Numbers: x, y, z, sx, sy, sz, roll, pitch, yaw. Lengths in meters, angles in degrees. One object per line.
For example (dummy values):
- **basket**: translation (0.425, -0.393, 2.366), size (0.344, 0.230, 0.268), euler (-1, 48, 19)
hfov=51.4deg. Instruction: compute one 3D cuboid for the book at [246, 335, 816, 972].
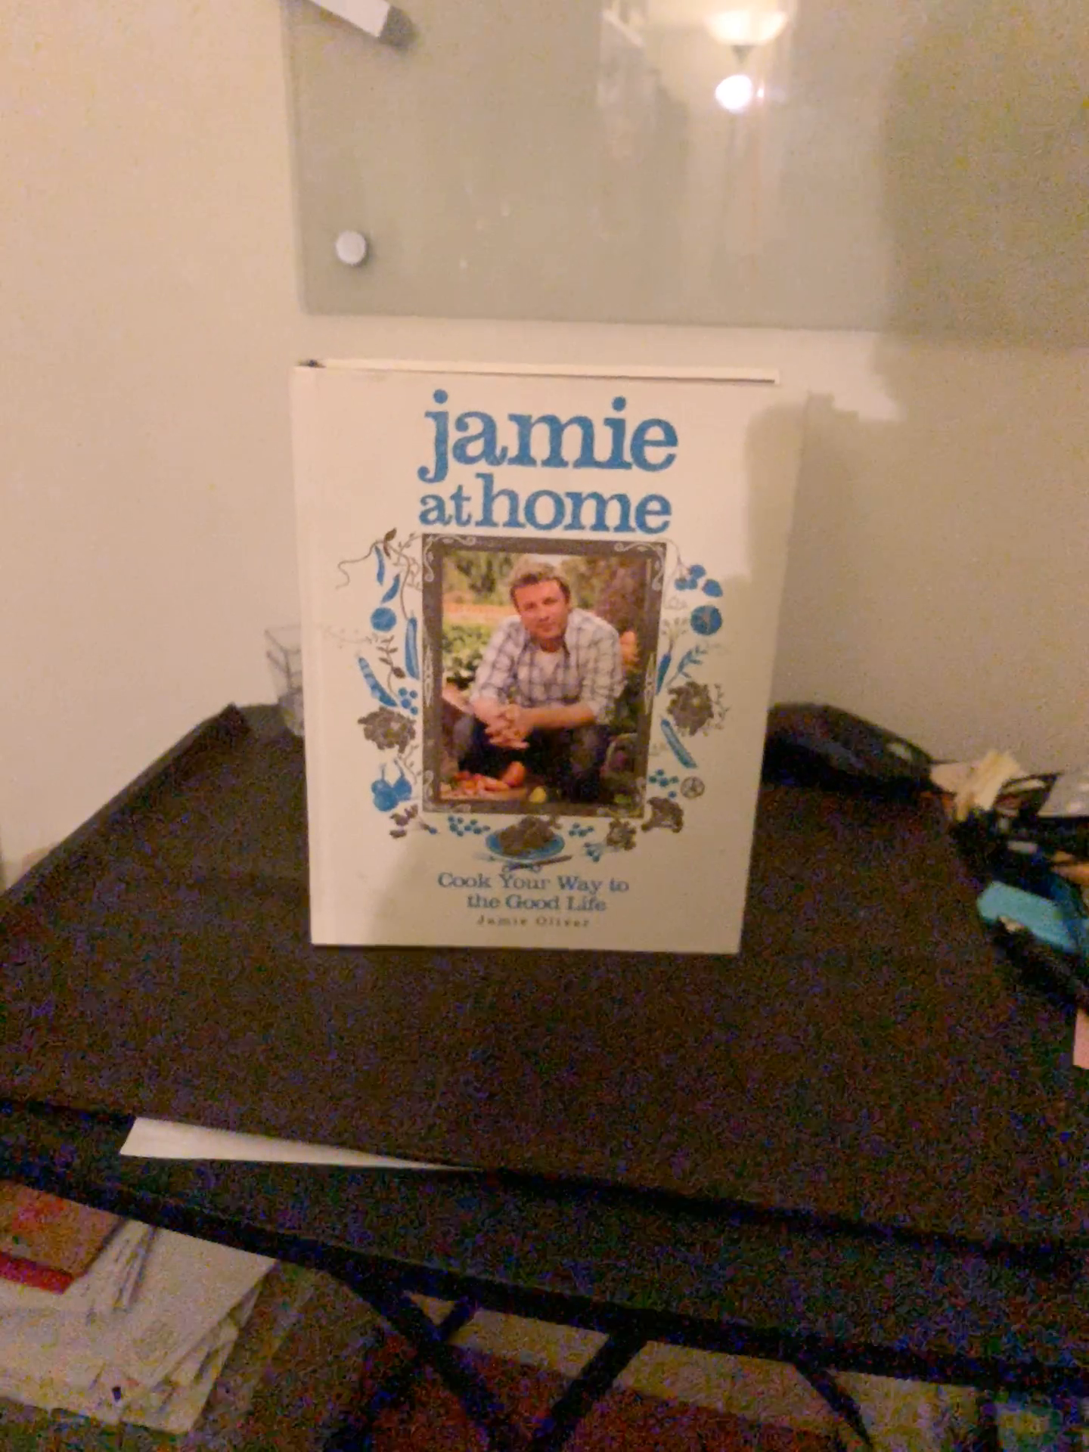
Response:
- **book**: translation (-0.008, -0.024, 0.492), size (0.210, 0.269, 0.050), euler (2, 23, 0)
